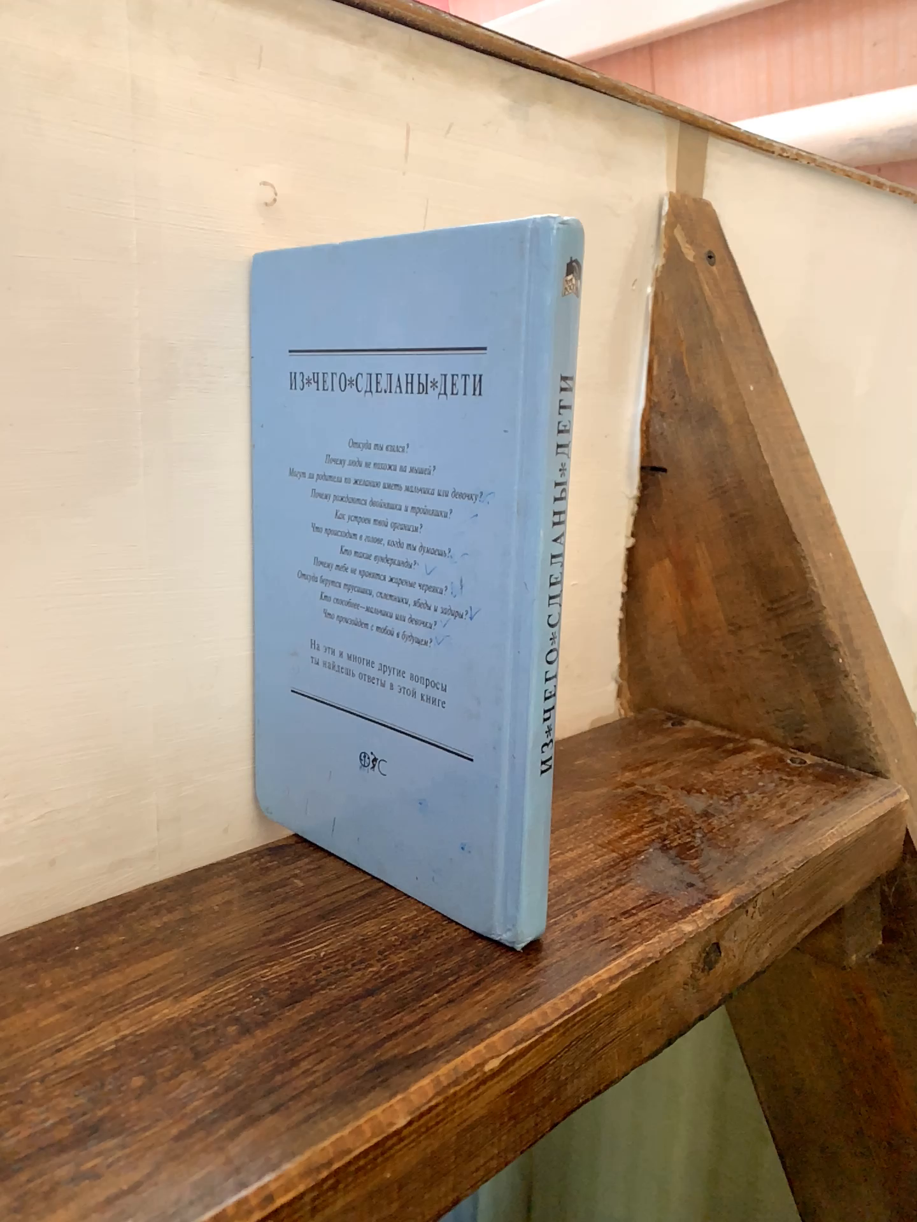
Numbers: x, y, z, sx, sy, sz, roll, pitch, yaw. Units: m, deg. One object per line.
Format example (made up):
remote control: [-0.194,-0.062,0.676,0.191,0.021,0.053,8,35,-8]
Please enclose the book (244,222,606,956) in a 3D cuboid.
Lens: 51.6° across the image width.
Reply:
book: [-0.020,-0.011,0.298,0.130,0.195,0.020,14,17,42]
